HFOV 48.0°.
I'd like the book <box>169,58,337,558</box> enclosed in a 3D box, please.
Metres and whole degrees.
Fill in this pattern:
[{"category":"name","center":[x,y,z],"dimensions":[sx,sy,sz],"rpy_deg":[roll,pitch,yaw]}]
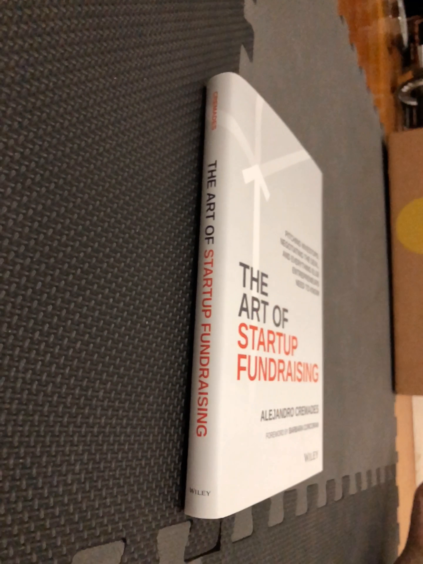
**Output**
[{"category":"book","center":[0.041,0.017,0.313],"dimensions":[0.171,0.030,0.250],"rpy_deg":[23,66,-57]}]
